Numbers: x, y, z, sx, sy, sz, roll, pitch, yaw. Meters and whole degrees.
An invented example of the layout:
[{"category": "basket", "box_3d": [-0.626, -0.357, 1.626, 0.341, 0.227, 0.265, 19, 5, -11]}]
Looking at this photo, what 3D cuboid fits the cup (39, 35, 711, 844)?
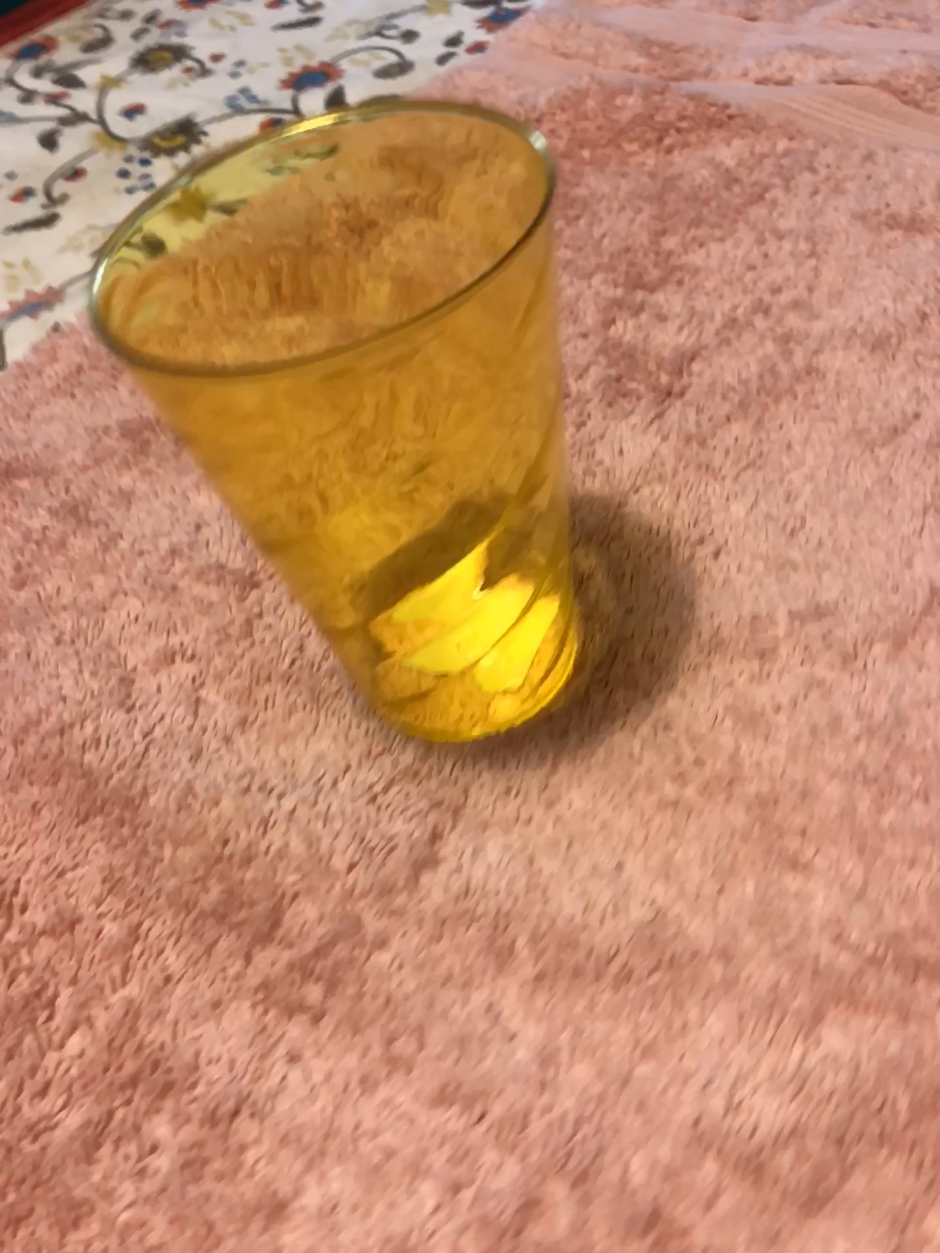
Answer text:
[{"category": "cup", "box_3d": [-0.008, -0.034, 0.217, 0.080, 0.119, 0.080, -6, 51, 8]}]
